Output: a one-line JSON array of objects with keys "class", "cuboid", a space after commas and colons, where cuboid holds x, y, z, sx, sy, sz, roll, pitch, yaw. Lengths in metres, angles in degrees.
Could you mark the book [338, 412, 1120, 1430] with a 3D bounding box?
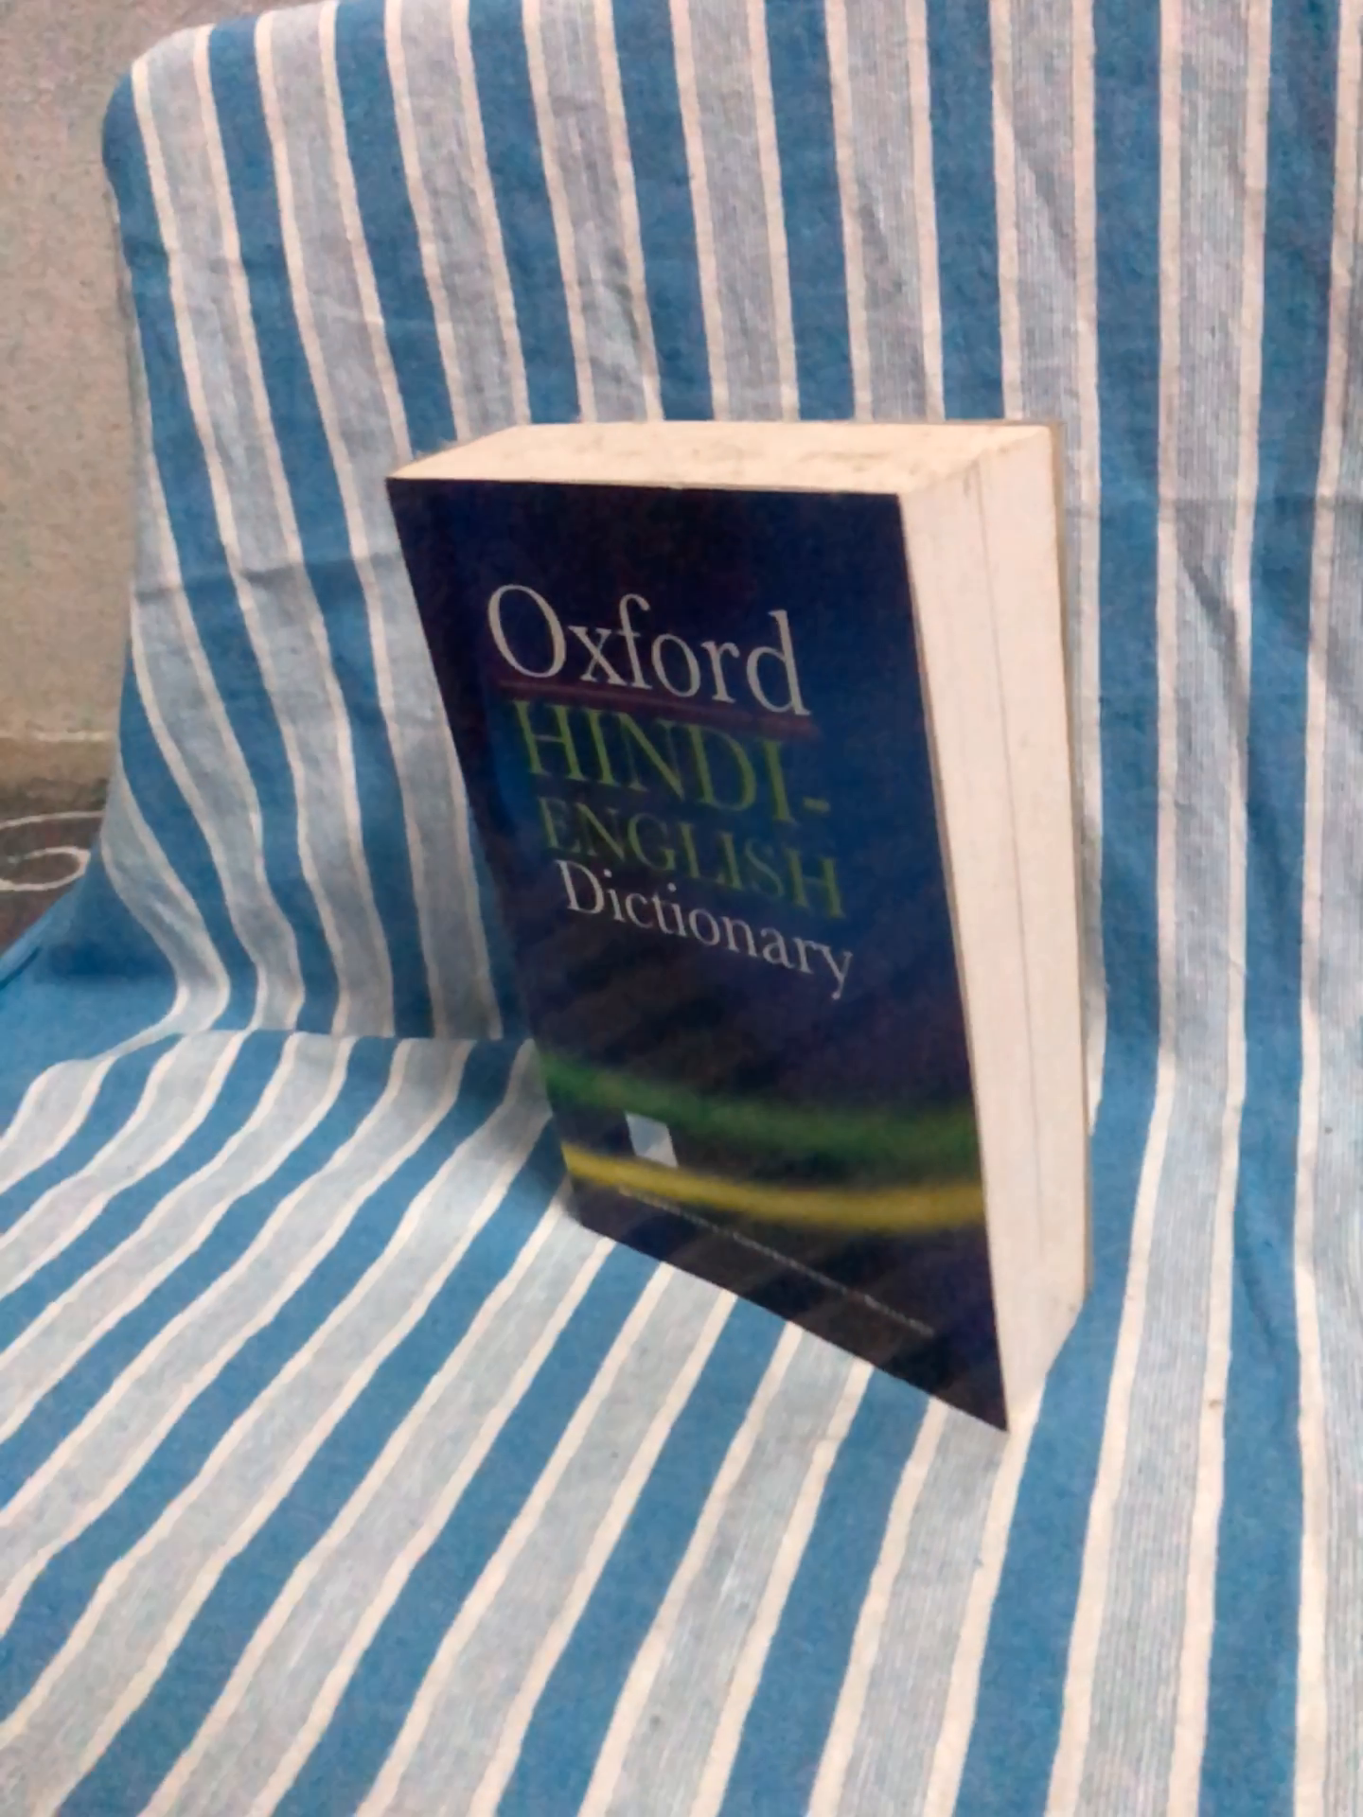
[{"class": "book", "cuboid": [0.016, 0.000, 0.330, 0.140, 0.199, 0.050, 15, 39, 38]}]
